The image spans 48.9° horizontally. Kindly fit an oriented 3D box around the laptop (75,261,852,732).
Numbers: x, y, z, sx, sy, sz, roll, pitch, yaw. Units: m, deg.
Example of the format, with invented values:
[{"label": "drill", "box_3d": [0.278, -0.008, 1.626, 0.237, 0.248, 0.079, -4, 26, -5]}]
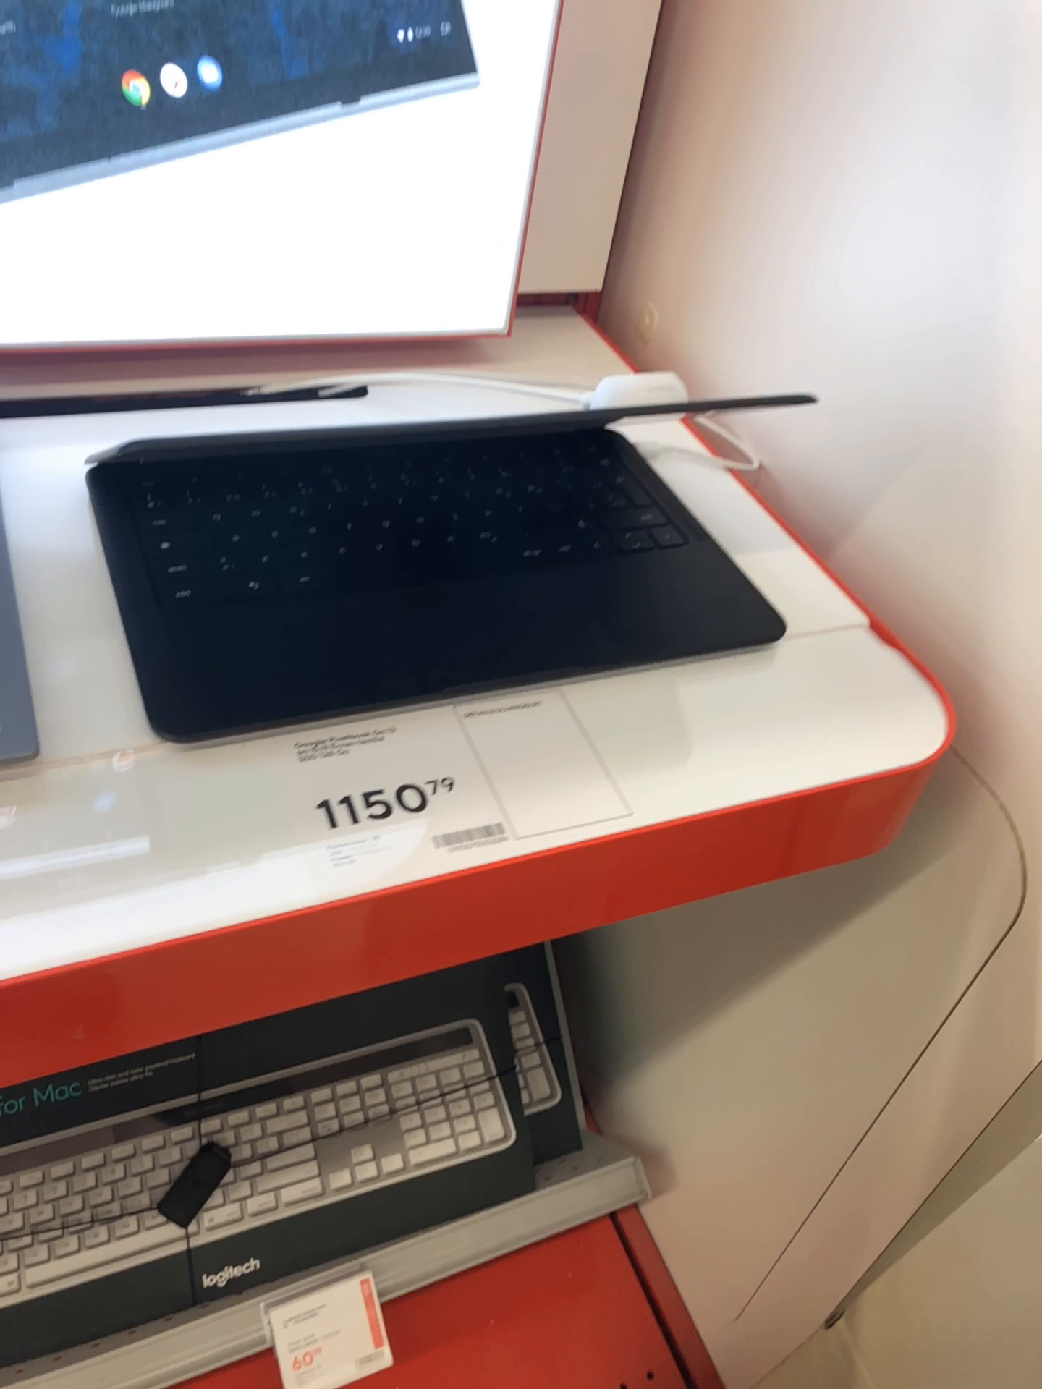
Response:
[{"label": "laptop", "box_3d": [-0.036, -0.113, 0.545, 0.298, 0.106, 0.199, -10, 45, -23]}]
